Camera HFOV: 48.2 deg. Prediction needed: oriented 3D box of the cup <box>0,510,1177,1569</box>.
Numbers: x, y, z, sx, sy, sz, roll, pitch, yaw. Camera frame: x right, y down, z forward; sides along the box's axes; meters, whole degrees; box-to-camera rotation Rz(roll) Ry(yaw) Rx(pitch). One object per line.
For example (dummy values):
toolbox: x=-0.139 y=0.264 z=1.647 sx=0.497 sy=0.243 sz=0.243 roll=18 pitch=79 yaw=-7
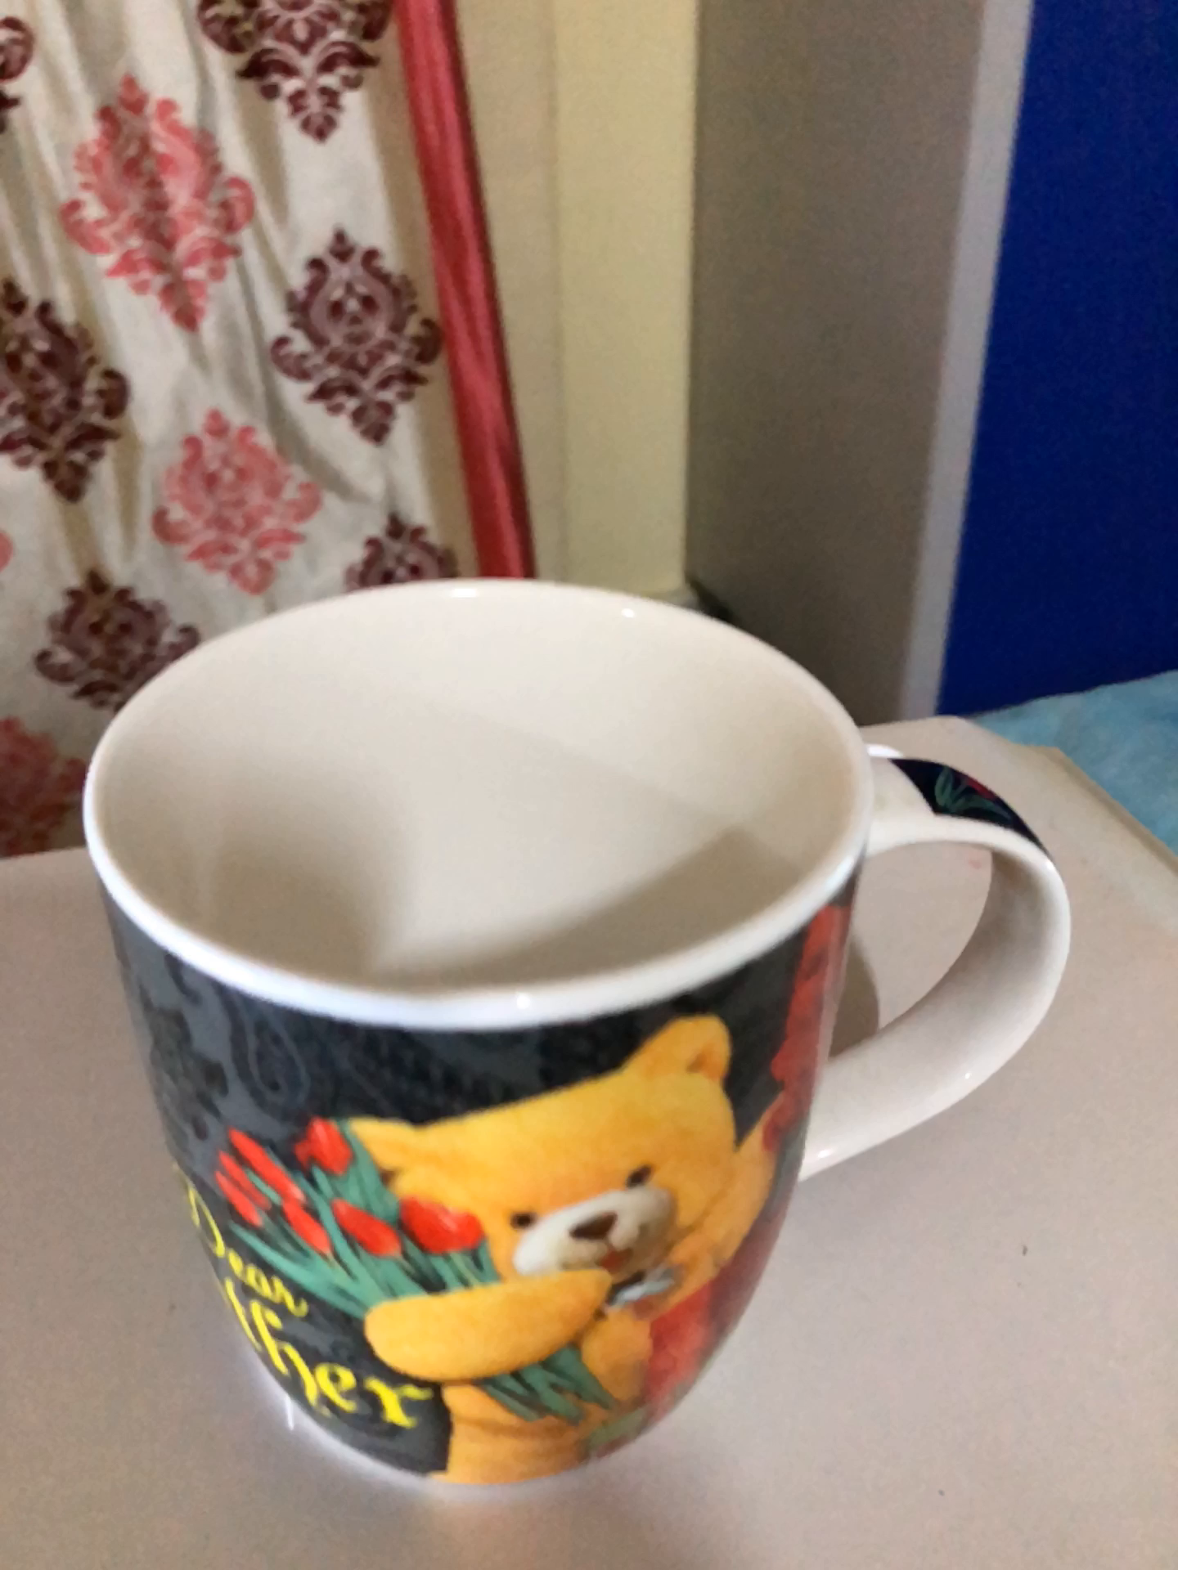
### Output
cup: x=0.002 y=0.030 z=0.177 sx=0.130 sy=0.099 sz=0.080 roll=-8 pitch=32 yaw=-11
